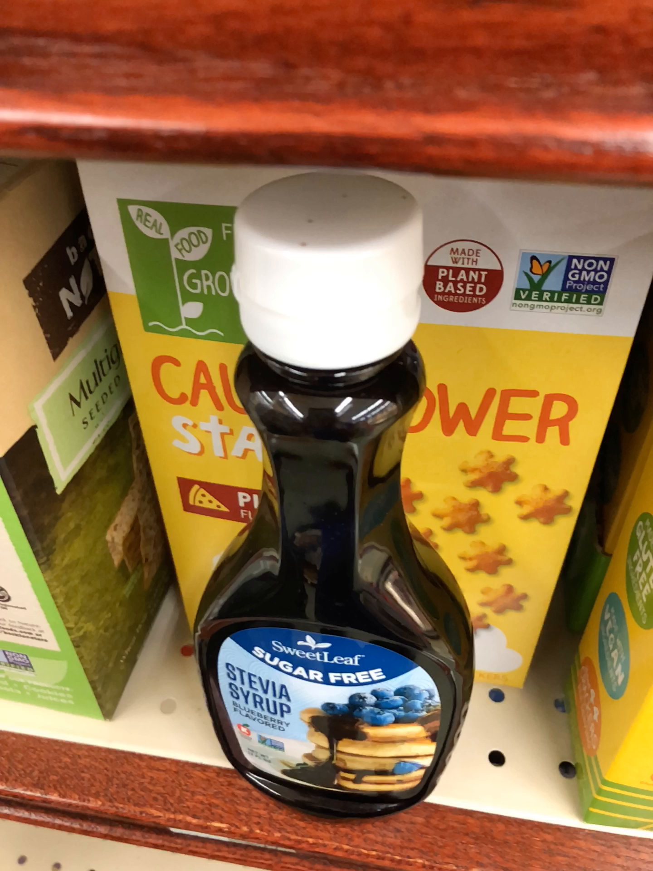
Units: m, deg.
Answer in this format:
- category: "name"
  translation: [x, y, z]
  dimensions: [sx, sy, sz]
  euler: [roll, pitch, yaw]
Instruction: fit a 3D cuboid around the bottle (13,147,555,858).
- category: "bottle"
  translation: [-0.002, 0.038, 0.190]
  dimensions: [0.080, 0.200, 0.050]
  euler: [9, 43, 11]
